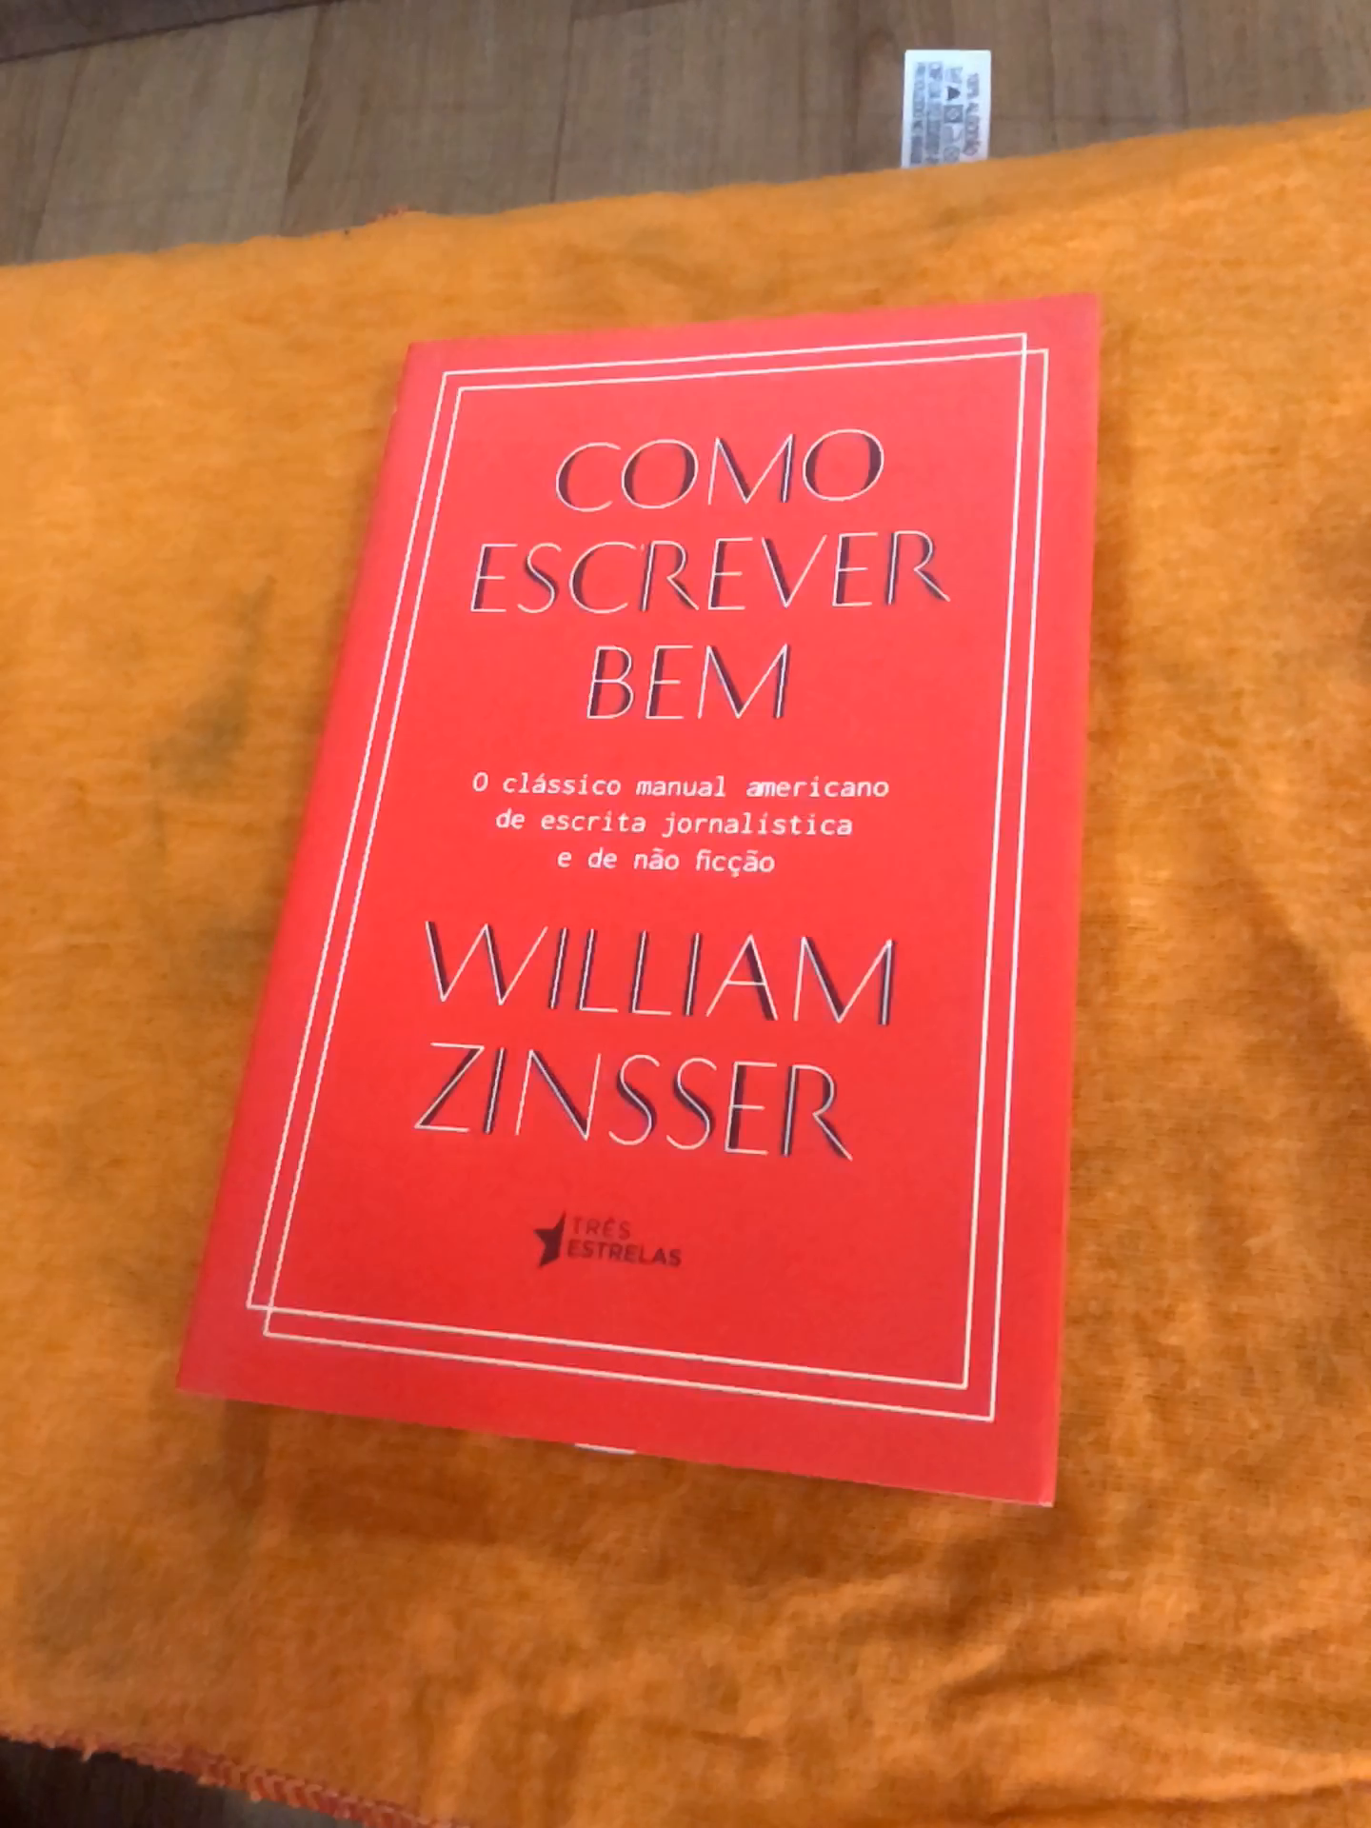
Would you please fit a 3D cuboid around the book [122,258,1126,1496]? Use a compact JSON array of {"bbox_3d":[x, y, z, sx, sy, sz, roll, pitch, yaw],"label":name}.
[{"bbox_3d":[-0.003,-0.017,0.252,0.140,0.020,0.196,2,70,16],"label":"book"}]
